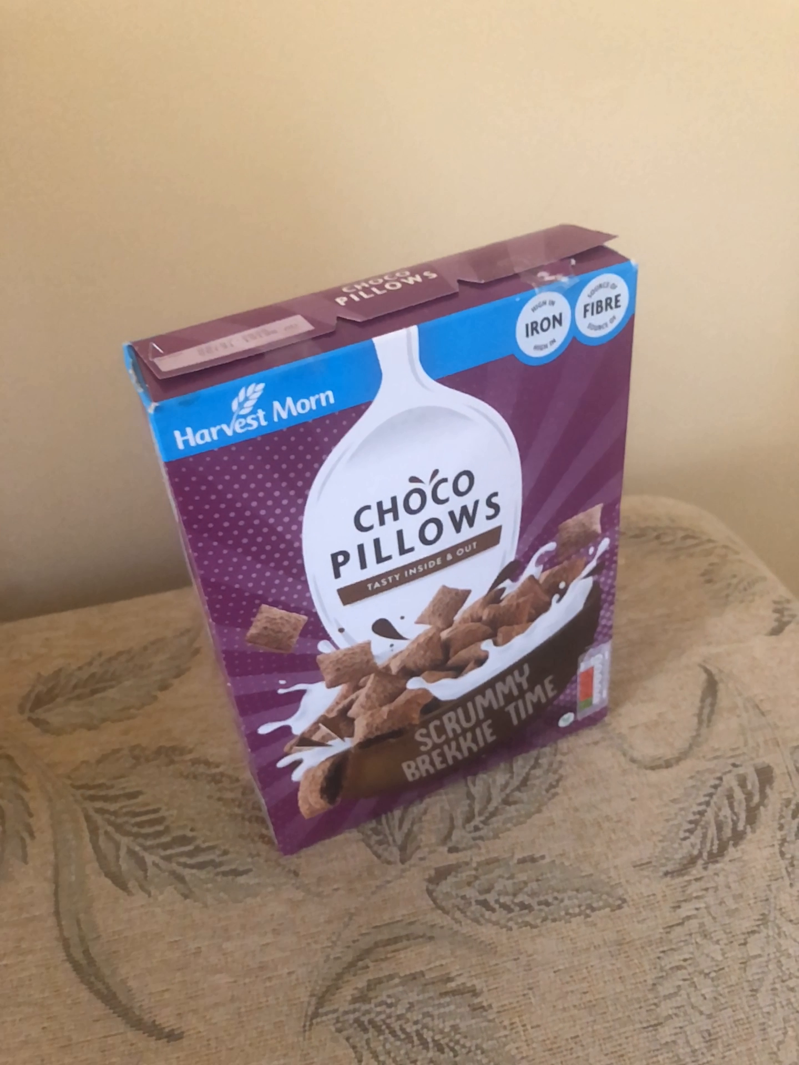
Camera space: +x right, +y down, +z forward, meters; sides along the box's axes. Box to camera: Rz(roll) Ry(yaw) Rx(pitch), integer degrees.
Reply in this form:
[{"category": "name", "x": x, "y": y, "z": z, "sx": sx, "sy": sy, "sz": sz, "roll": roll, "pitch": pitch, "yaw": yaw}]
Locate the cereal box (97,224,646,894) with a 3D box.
[{"category": "cereal box", "x": 0.001, "y": 0.024, "z": 0.420, "sx": 0.200, "sy": 0.278, "sz": 0.060, "roll": -21, "pitch": 41, "yaw": -20}]
